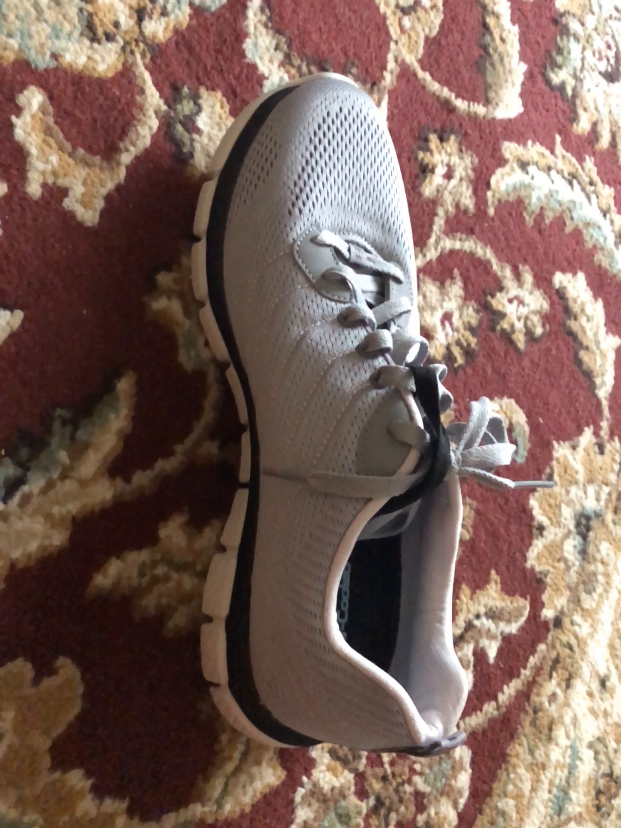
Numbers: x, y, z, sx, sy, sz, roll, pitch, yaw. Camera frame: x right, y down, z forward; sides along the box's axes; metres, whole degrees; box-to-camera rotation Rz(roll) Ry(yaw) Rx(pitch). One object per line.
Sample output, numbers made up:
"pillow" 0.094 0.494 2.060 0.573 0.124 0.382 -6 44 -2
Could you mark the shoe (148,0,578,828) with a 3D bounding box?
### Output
"shoe" 0.016 -0.014 0.279 0.100 0.130 0.300 8 79 -33
